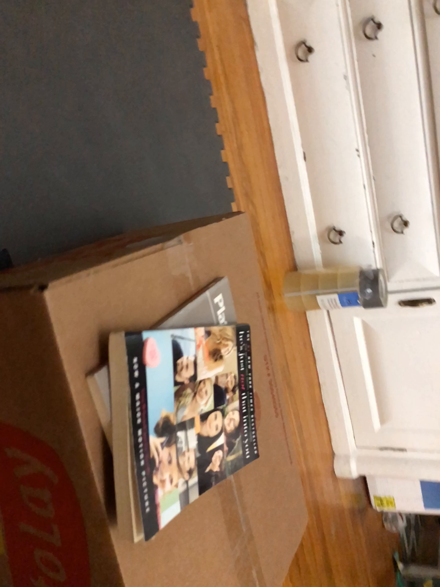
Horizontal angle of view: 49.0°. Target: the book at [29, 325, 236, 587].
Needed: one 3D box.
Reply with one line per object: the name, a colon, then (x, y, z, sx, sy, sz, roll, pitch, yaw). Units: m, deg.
book: (-0.049, 0.105, 0.383, 0.231, 0.010, 0.150, 2, 83, -61)
